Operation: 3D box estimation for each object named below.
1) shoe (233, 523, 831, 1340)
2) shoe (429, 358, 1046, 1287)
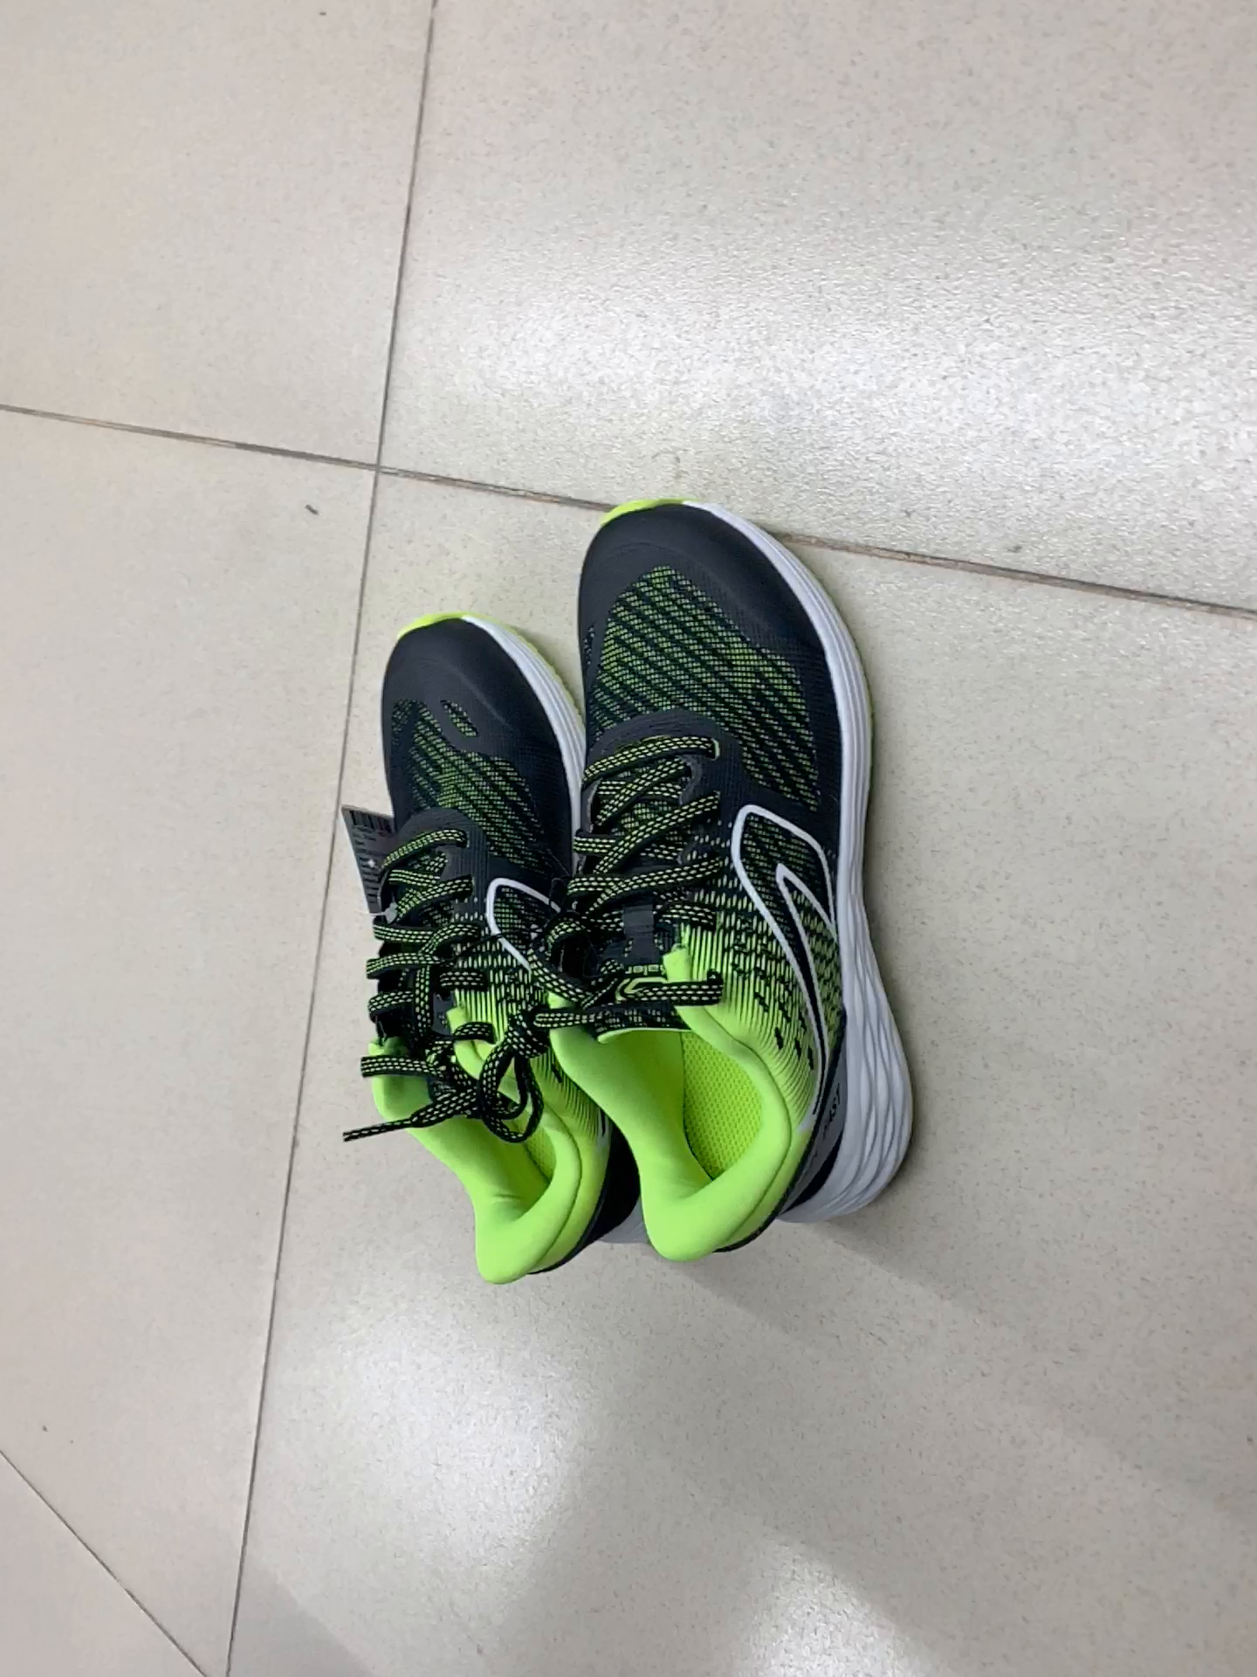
[{"bbox_3d":[-0.033,0.028,0.444,0.090,0.109,0.240,-24,80,37],"label":"shoe"},{"bbox_3d":[0.035,-0.002,0.395,0.090,0.109,0.240,-16,85,38],"label":"shoe"}]
